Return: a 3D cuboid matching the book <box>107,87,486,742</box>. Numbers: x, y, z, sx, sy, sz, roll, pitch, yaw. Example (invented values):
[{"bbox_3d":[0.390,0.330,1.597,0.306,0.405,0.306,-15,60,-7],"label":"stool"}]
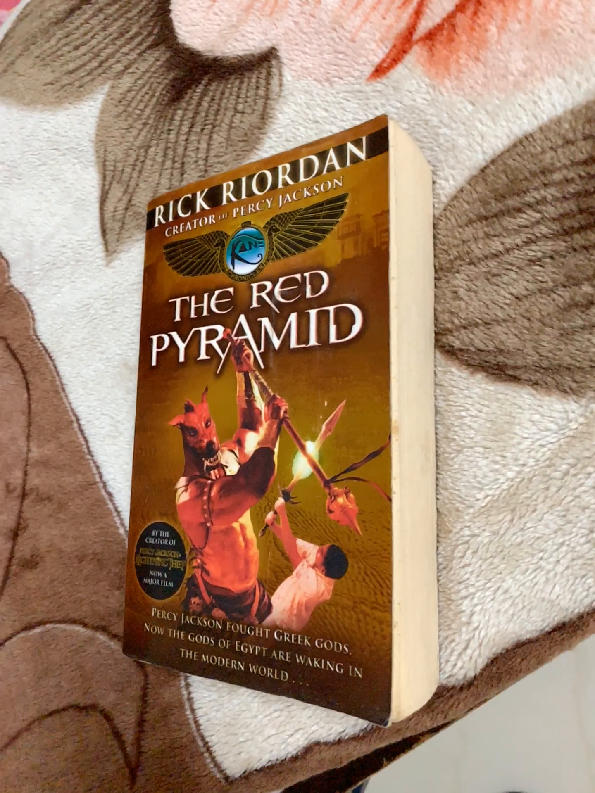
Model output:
[{"bbox_3d":[-0.004,0.004,0.261,0.150,0.040,0.220,-4,79,31],"label":"book"}]
